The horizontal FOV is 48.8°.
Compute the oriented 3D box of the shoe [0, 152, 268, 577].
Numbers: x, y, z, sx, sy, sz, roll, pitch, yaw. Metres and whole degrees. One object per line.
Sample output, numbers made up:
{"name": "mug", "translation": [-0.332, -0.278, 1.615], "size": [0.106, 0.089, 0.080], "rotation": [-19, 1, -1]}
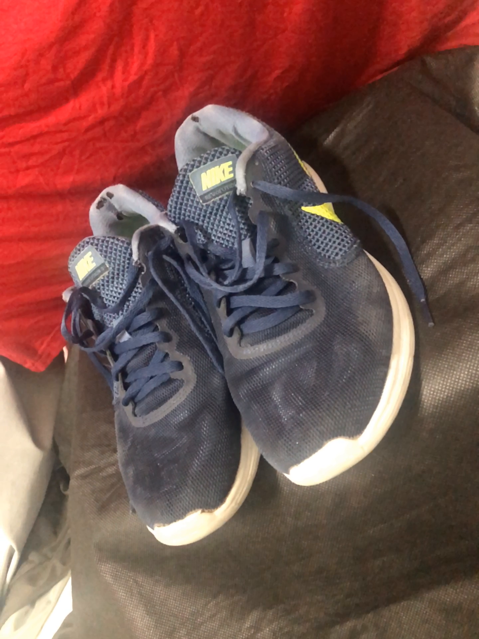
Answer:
{"name": "shoe", "translation": [-0.073, 0.021, 0.341], "size": [0.110, 0.099, 0.232], "rotation": [-31, 45, 24]}

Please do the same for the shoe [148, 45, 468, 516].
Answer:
{"name": "shoe", "translation": [0.017, -0.039, 0.320], "size": [0.110, 0.089, 0.262], "rotation": [-31, 45, 24]}
